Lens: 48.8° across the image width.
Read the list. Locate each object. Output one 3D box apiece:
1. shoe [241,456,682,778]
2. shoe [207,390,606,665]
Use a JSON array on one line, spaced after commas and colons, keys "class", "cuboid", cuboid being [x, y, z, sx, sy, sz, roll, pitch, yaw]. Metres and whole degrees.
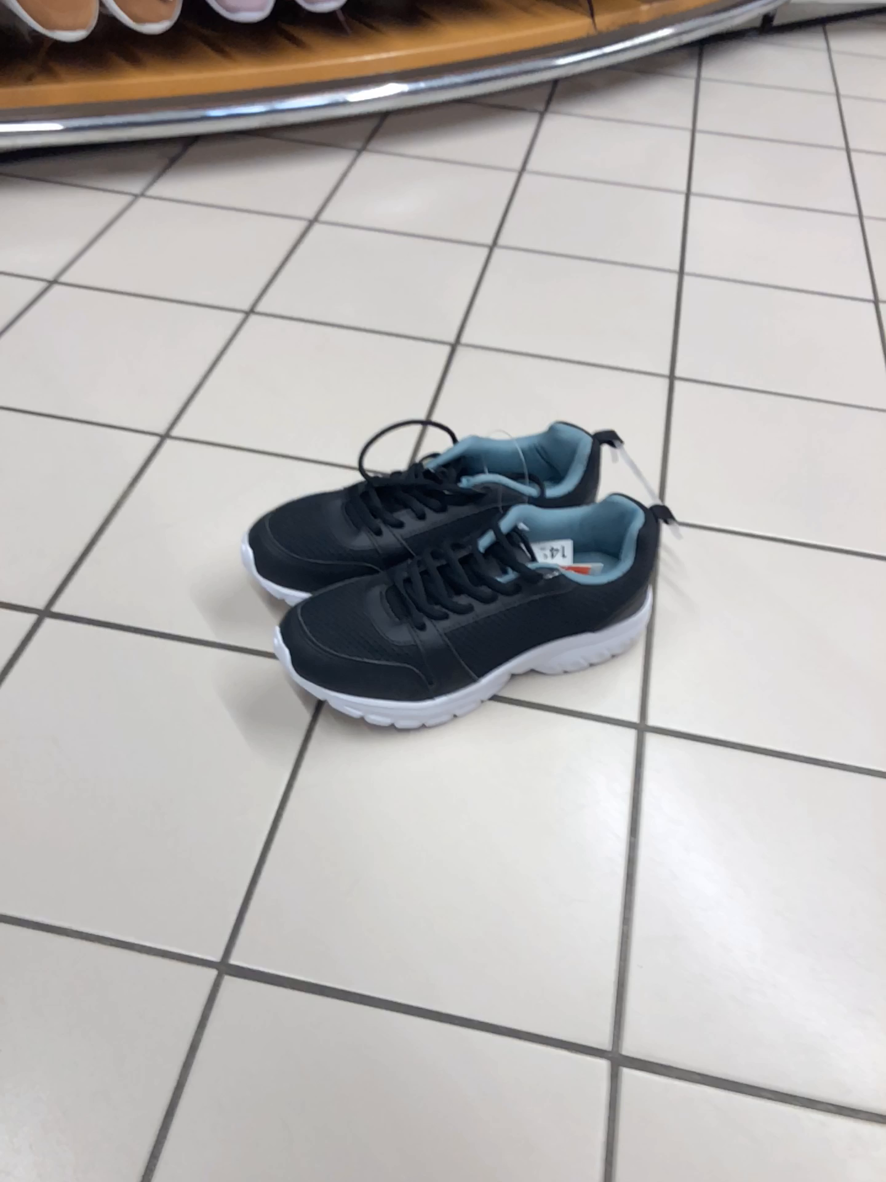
[{"class": "shoe", "cuboid": [0.009, 0.012, 0.614, 0.241, 0.109, 0.100, -14, 48, -17]}, {"class": "shoe", "cuboid": [-0.025, -0.049, 0.669, 0.241, 0.099, 0.100, -14, 44, -17]}]
